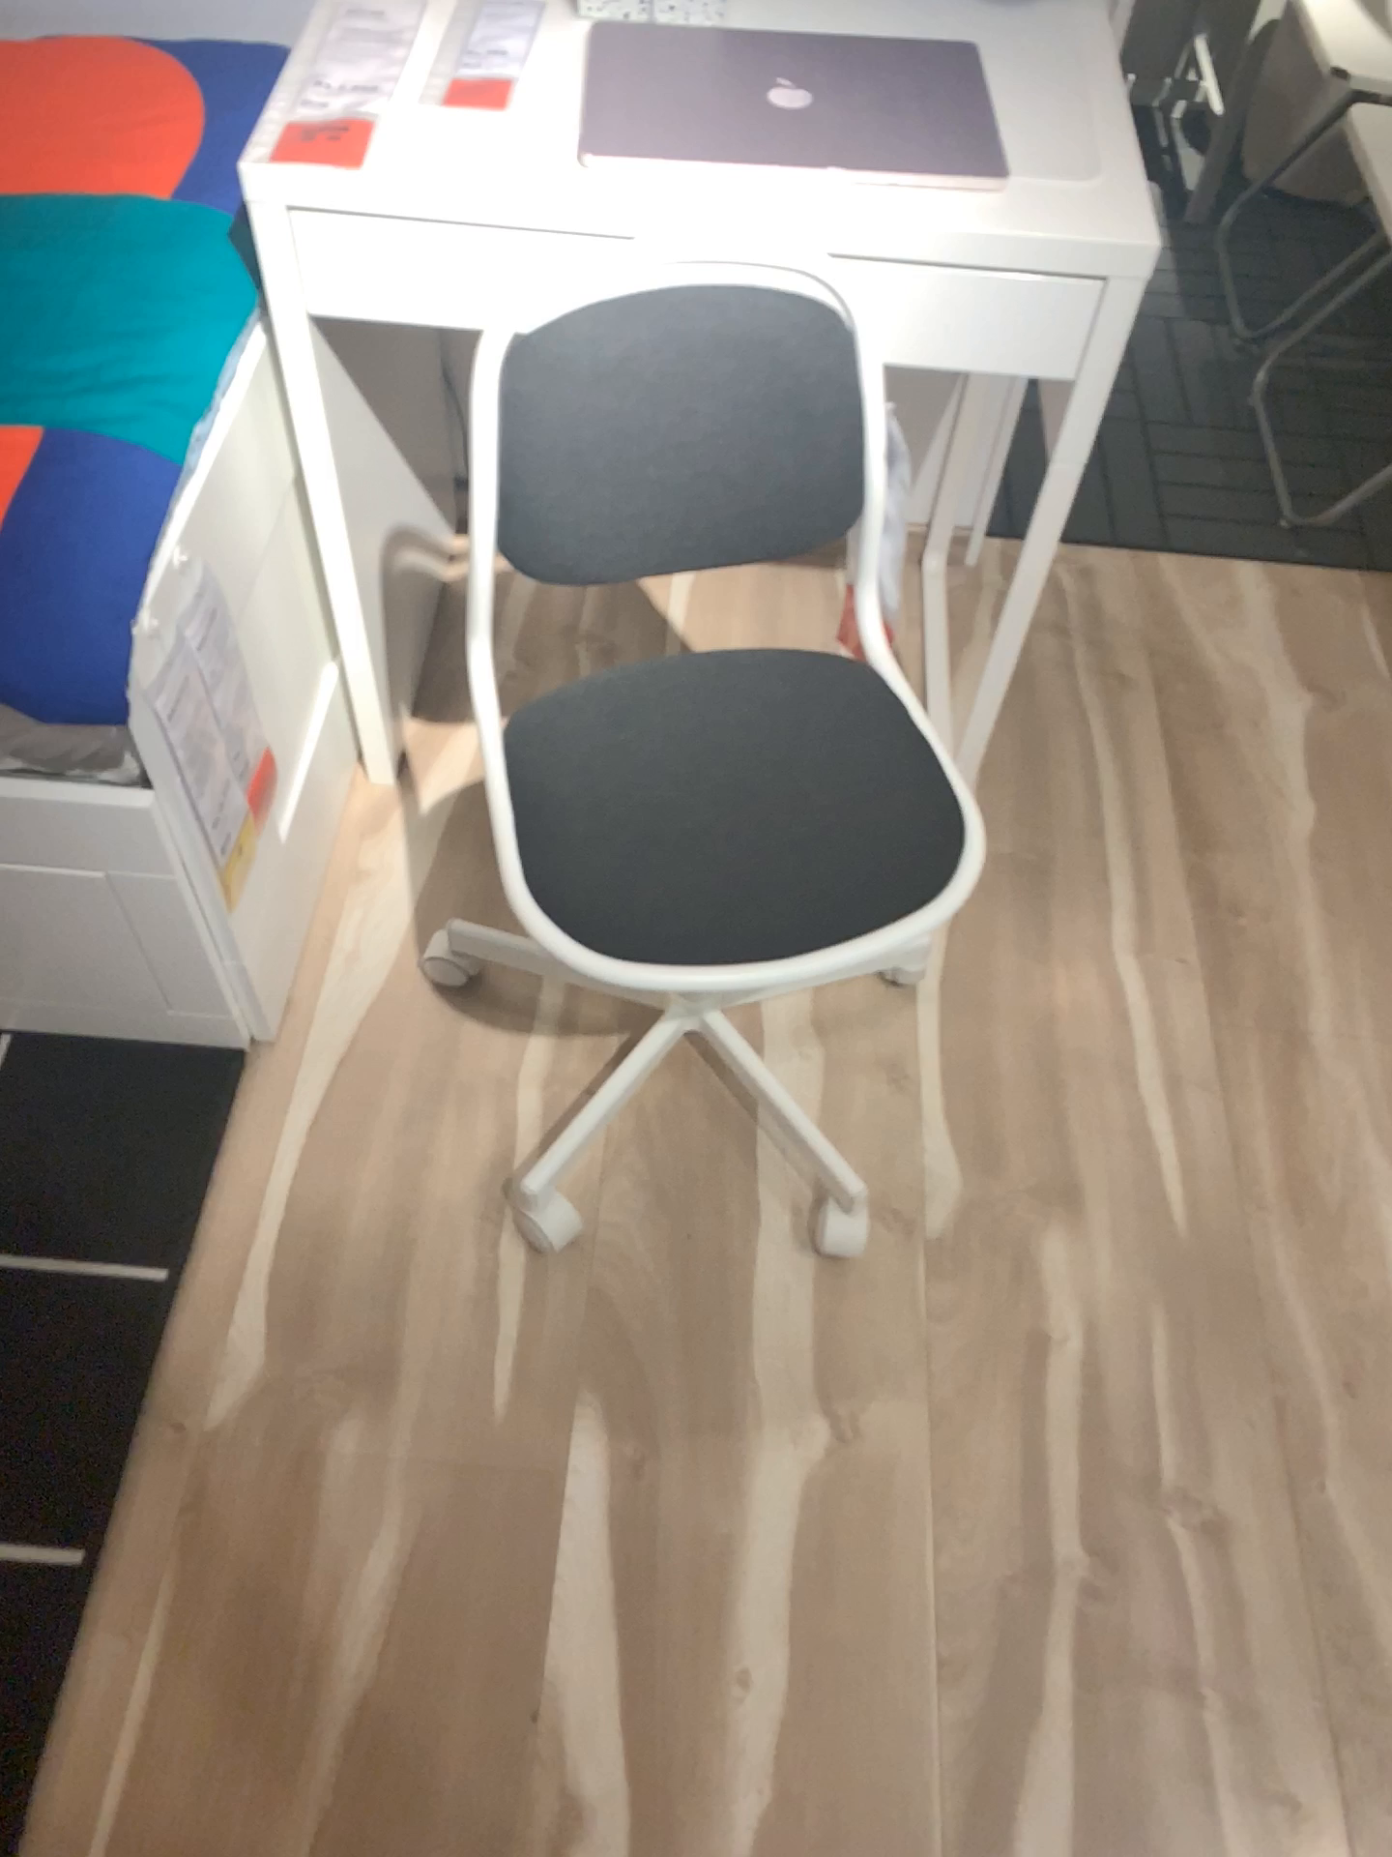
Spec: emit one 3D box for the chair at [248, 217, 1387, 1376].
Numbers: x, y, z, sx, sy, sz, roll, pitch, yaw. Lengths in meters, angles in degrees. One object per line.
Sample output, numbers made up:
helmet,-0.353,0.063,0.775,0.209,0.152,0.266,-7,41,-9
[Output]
chair,0.019,-0.093,1.151,0.570,0.628,0.592,-11,56,-11
